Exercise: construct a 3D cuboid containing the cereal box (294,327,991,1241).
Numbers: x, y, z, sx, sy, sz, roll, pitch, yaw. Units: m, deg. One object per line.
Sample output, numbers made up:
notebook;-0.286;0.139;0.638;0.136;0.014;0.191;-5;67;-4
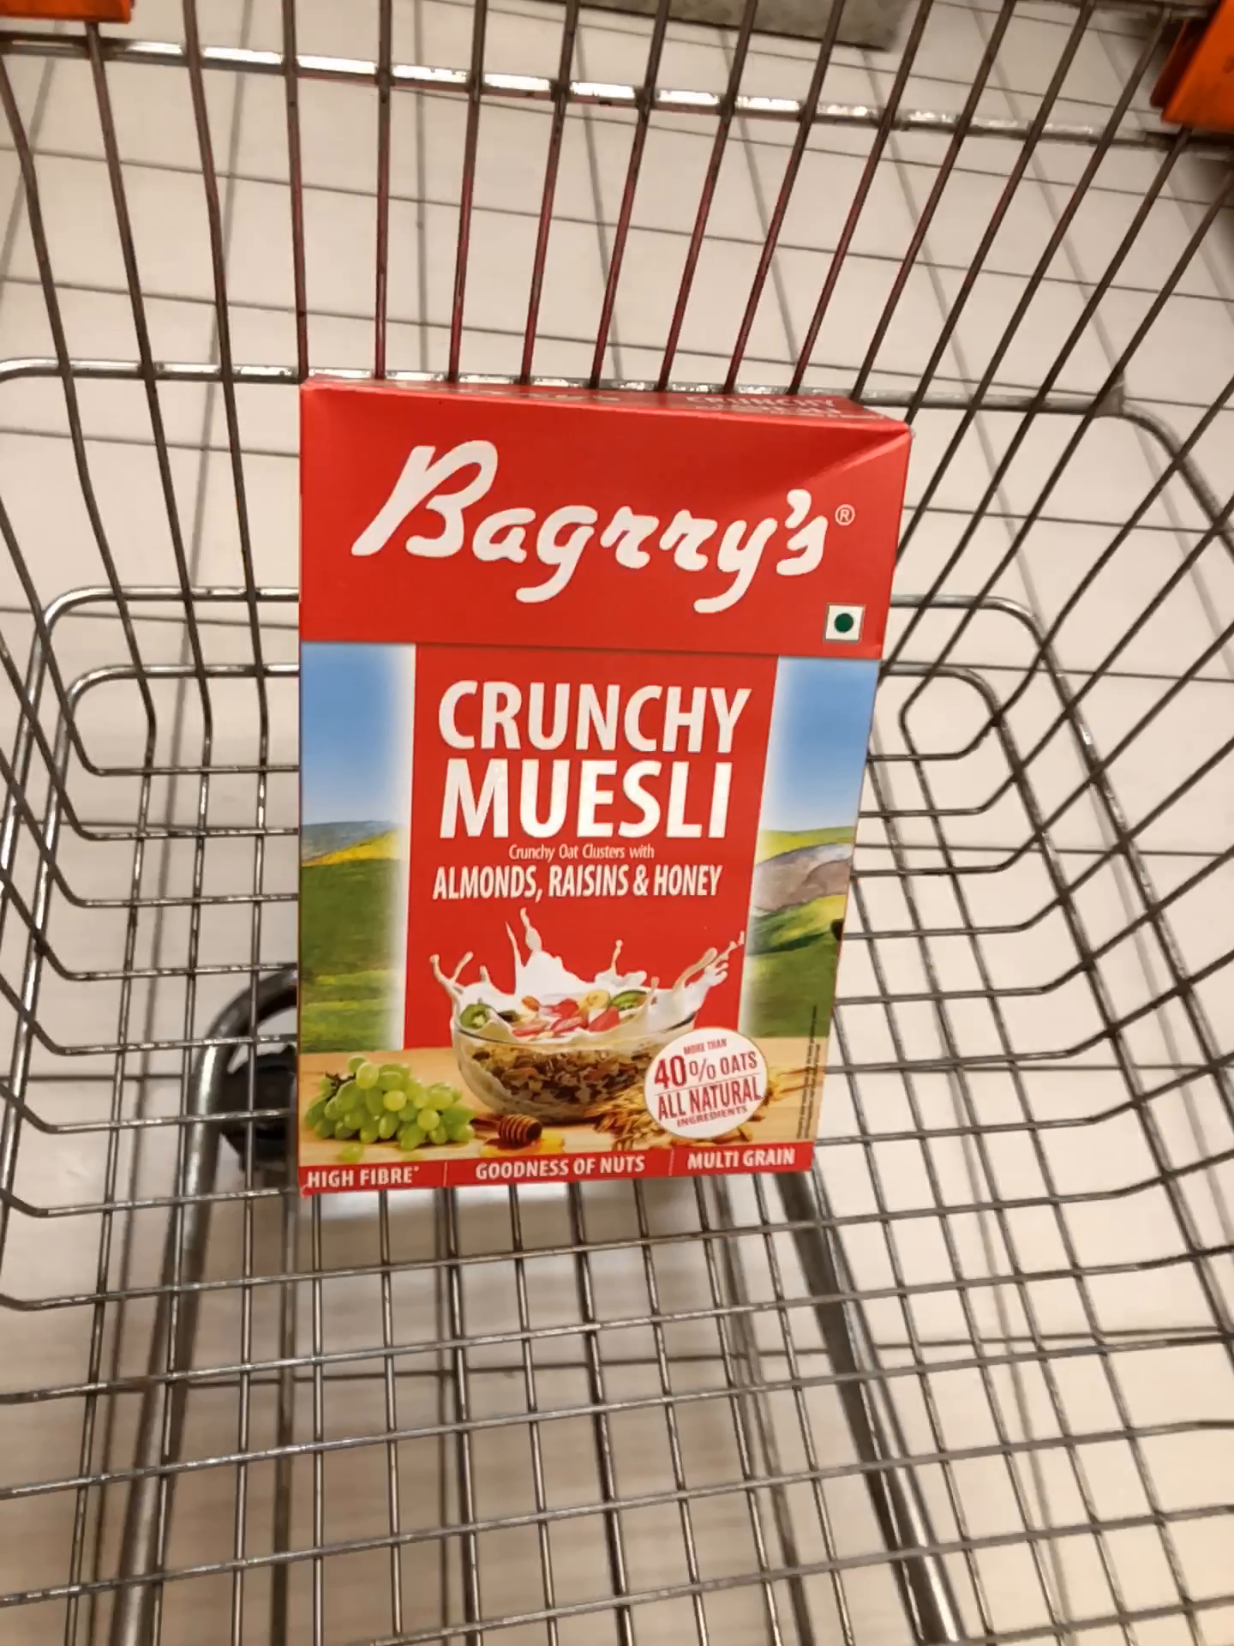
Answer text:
cereal box;-0.007;-0.003;0.443;0.190;0.279;0.060;0;24;-13
